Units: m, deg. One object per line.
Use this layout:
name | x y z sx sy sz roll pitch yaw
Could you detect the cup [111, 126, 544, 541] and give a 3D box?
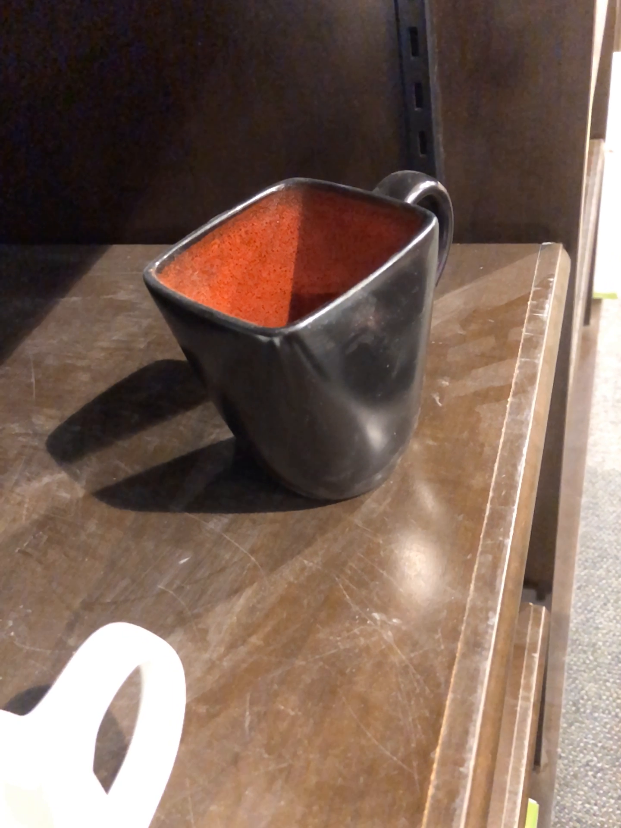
cup | 0.013 -0.040 0.267 0.123 0.083 0.095 -40 46 -24
